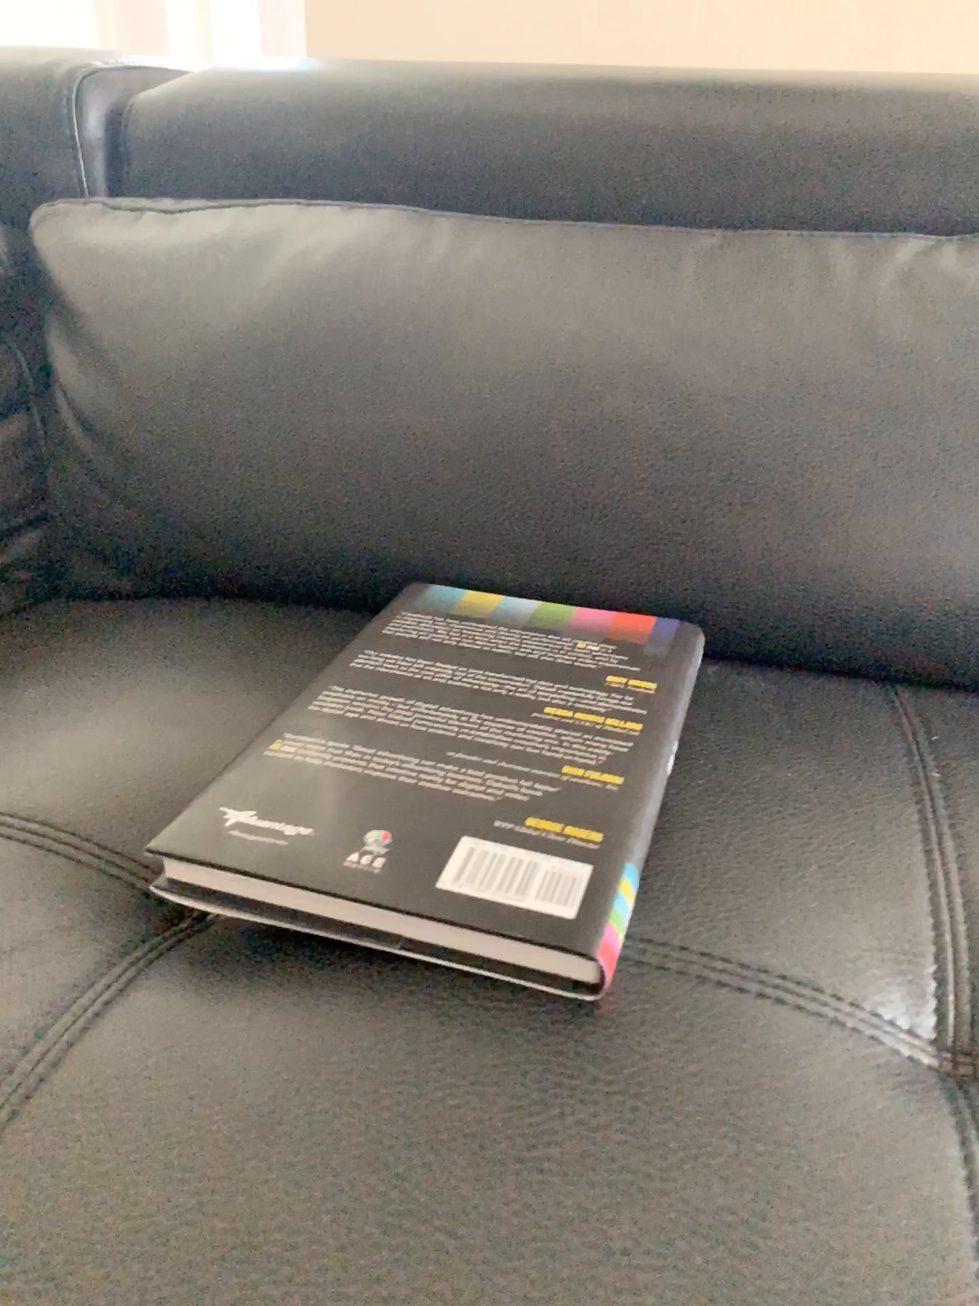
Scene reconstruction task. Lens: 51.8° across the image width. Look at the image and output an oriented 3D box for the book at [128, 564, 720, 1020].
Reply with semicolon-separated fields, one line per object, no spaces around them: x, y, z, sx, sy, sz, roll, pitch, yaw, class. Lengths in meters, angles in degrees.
-0.003;0.030;0.408;0.160;0.030;0.238;9;28;16;book
